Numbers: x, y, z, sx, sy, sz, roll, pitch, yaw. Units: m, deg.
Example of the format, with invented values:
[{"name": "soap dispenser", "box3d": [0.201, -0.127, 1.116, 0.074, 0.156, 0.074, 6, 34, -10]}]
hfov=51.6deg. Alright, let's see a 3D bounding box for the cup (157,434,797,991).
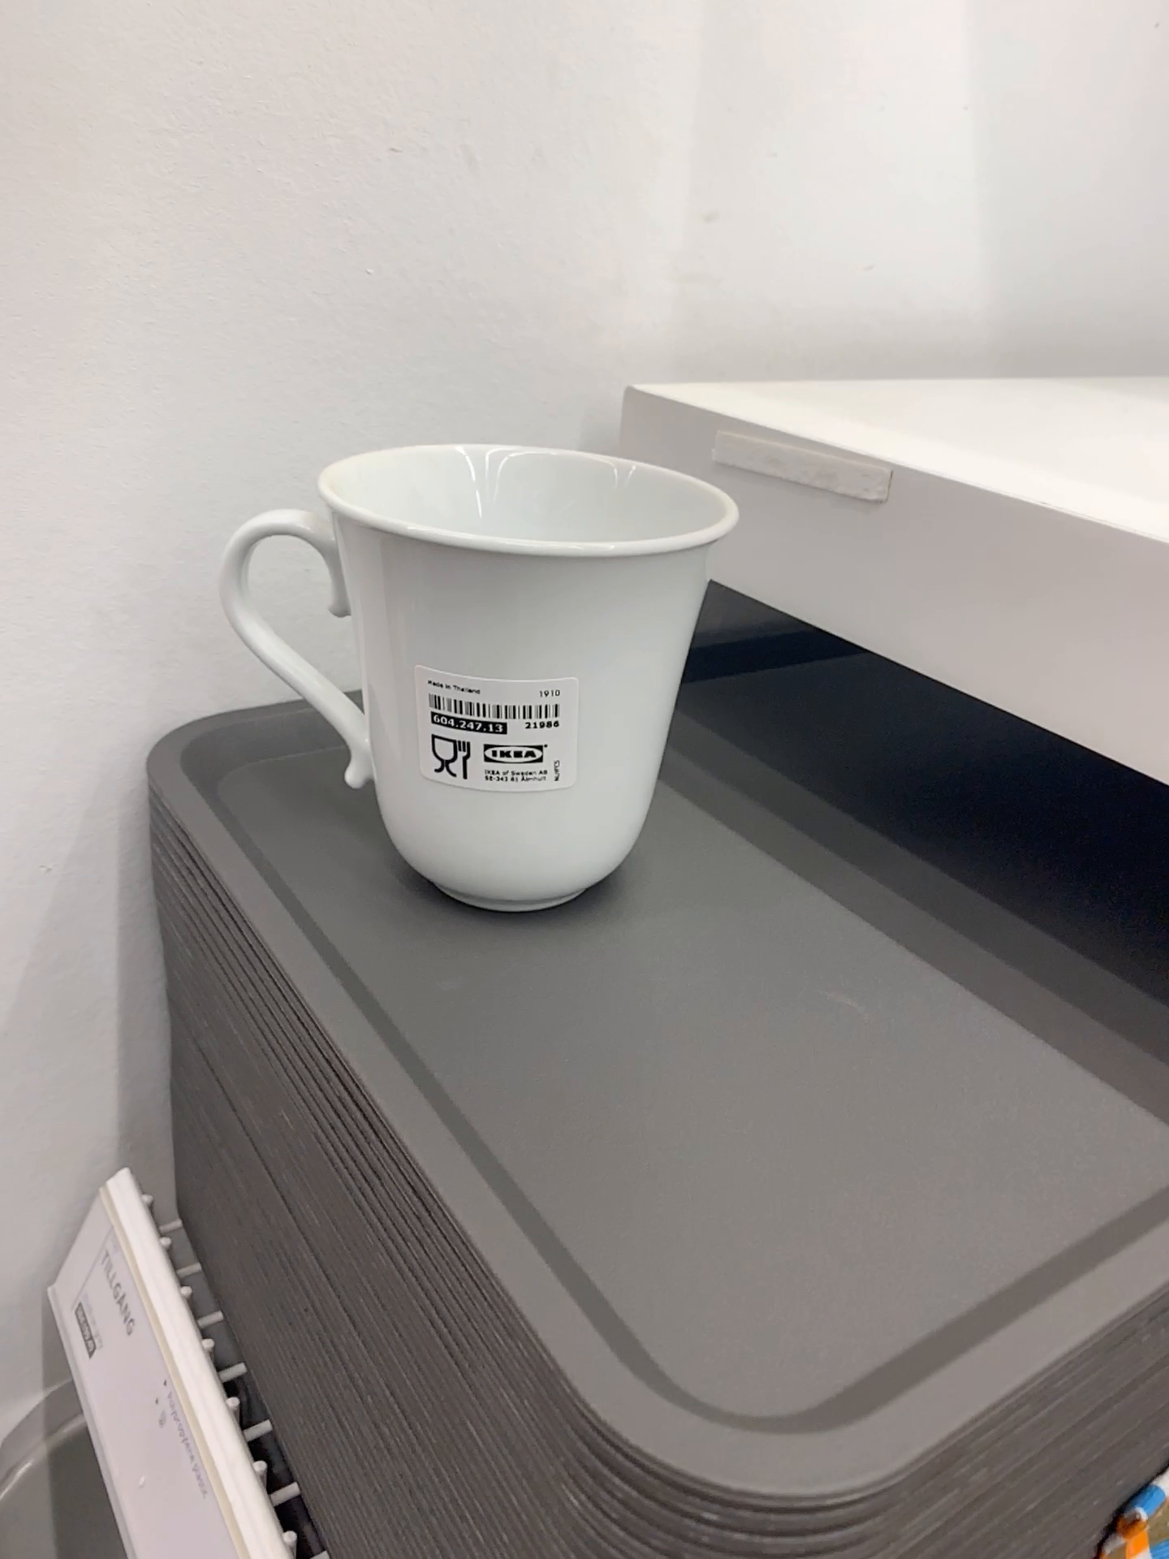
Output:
[{"name": "cup", "box3d": [-0.023, -0.023, 0.310, 0.130, 0.100, 0.100, 6, 25, 1]}]
